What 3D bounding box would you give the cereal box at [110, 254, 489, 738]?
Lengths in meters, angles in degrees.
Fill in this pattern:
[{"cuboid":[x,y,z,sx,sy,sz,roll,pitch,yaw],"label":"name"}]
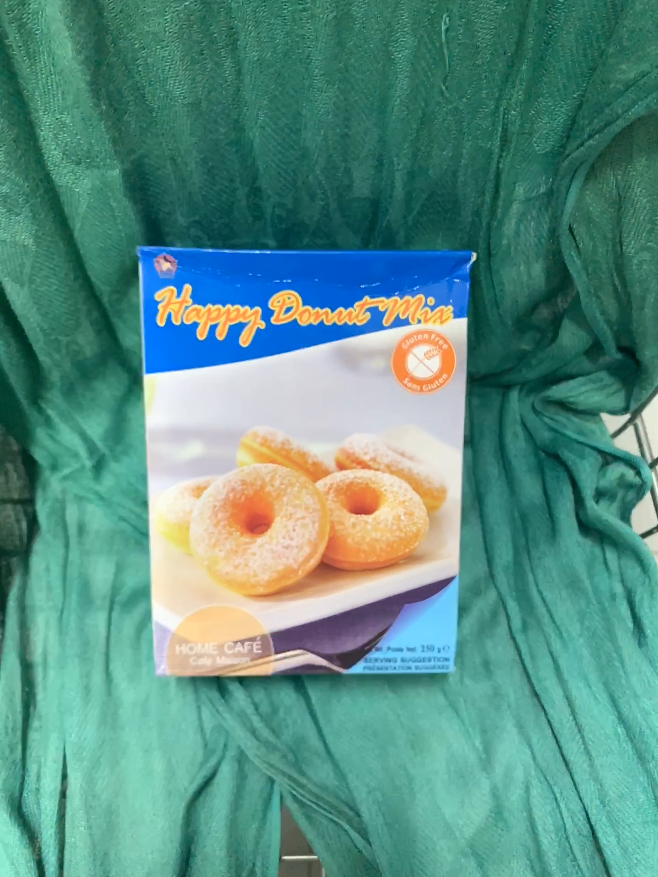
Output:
[{"cuboid":[-0.011,0.020,0.281,0.130,0.060,0.180,0,100,-4],"label":"cereal box"}]
